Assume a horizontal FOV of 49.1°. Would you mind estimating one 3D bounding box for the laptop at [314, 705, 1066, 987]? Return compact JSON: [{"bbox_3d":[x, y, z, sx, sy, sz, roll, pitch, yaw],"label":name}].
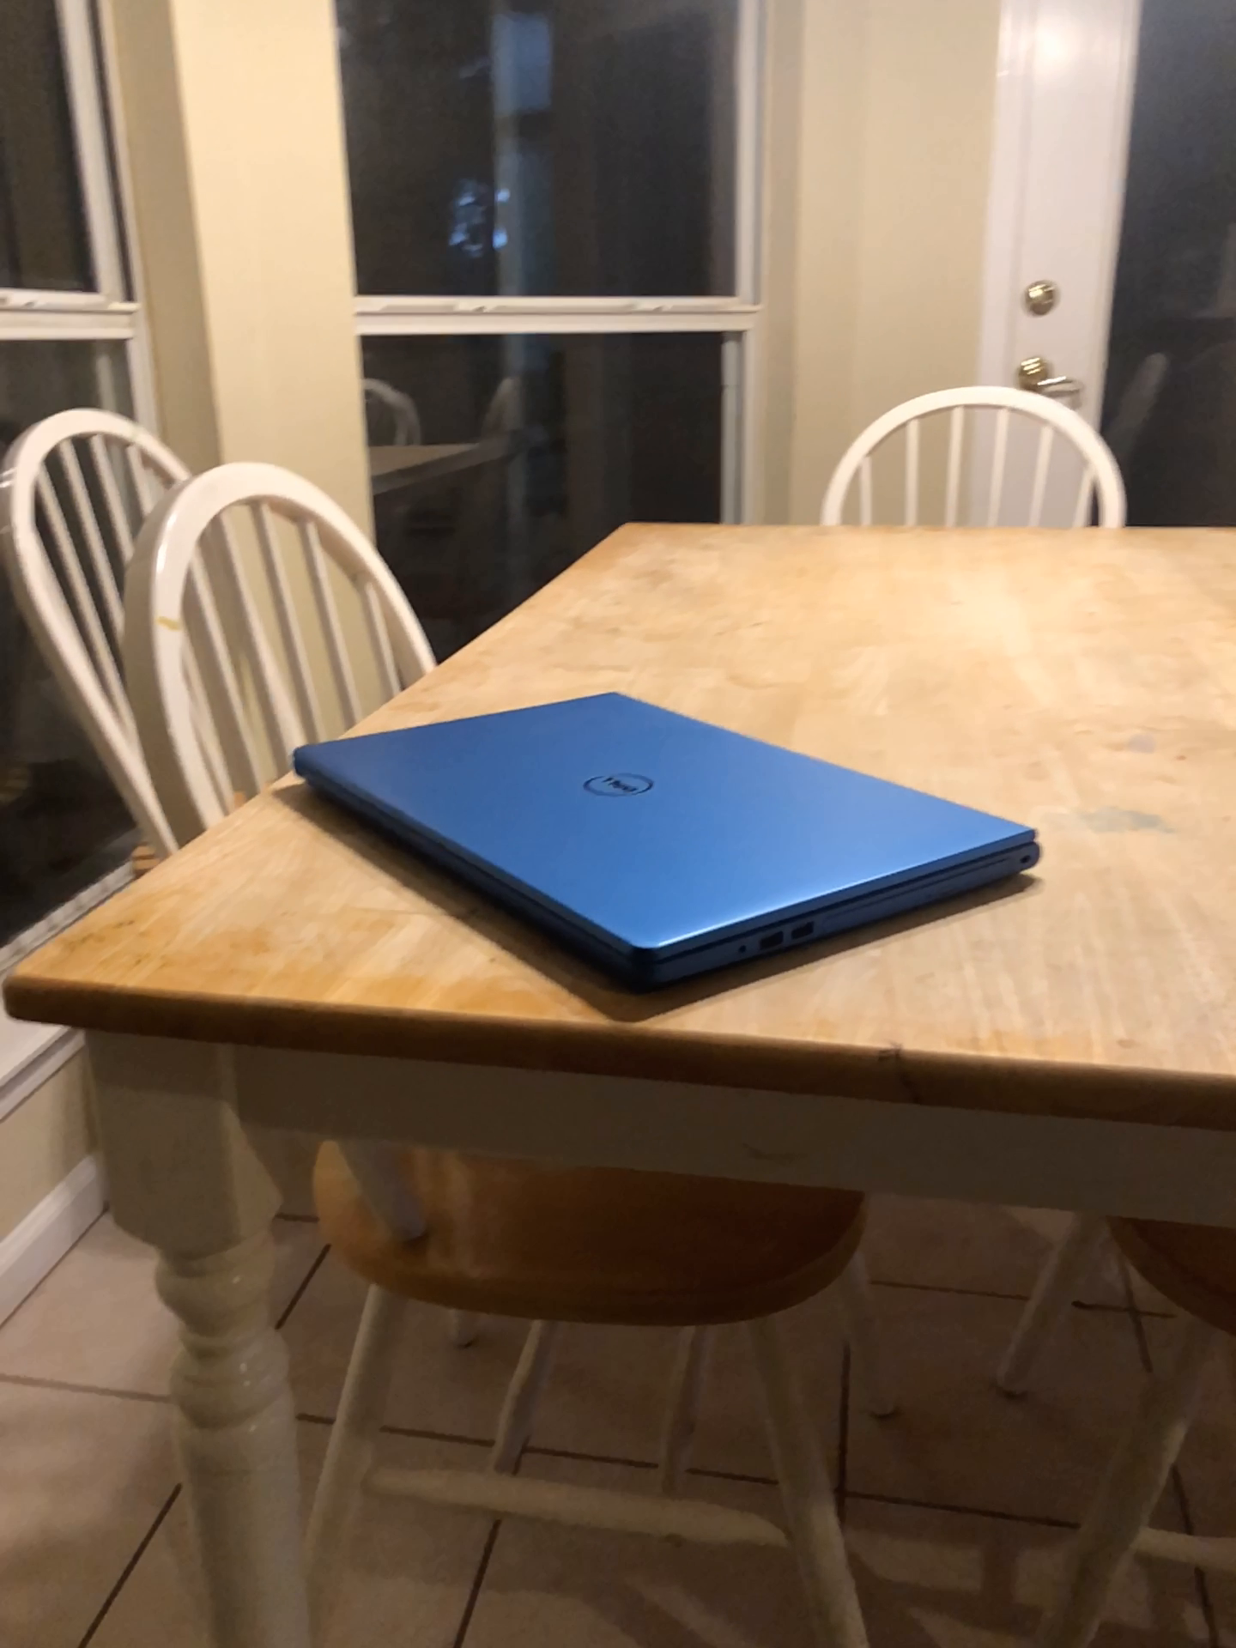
[{"bbox_3d":[0.020,-0.010,0.799,0.259,0.001,0.389,-14,24,-32],"label":"laptop"}]
